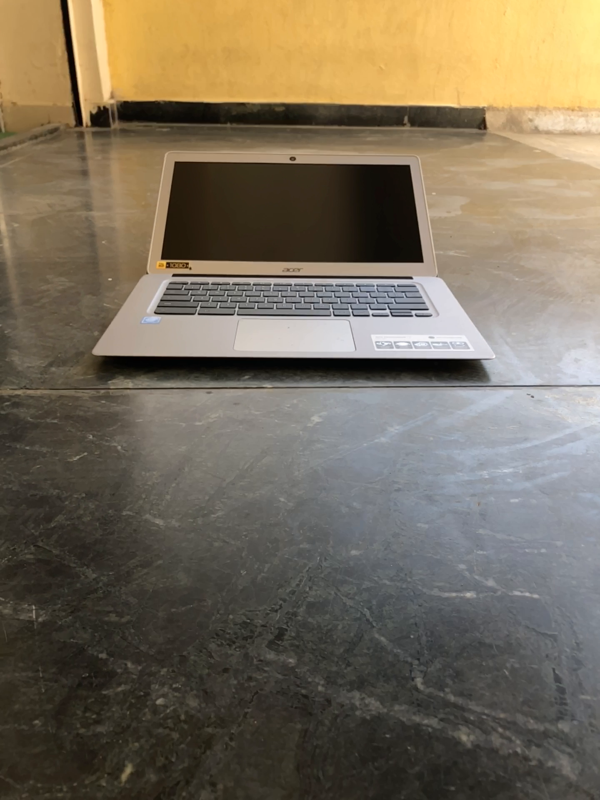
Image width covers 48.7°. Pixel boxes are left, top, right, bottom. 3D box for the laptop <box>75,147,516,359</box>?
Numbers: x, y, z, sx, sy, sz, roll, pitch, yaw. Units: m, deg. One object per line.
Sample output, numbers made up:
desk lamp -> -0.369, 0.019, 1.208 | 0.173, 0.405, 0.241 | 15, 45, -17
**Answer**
laptop -> -0.007, -0.186, 0.723 | 0.337, 0.117, 0.426 | 0, 27, -1
